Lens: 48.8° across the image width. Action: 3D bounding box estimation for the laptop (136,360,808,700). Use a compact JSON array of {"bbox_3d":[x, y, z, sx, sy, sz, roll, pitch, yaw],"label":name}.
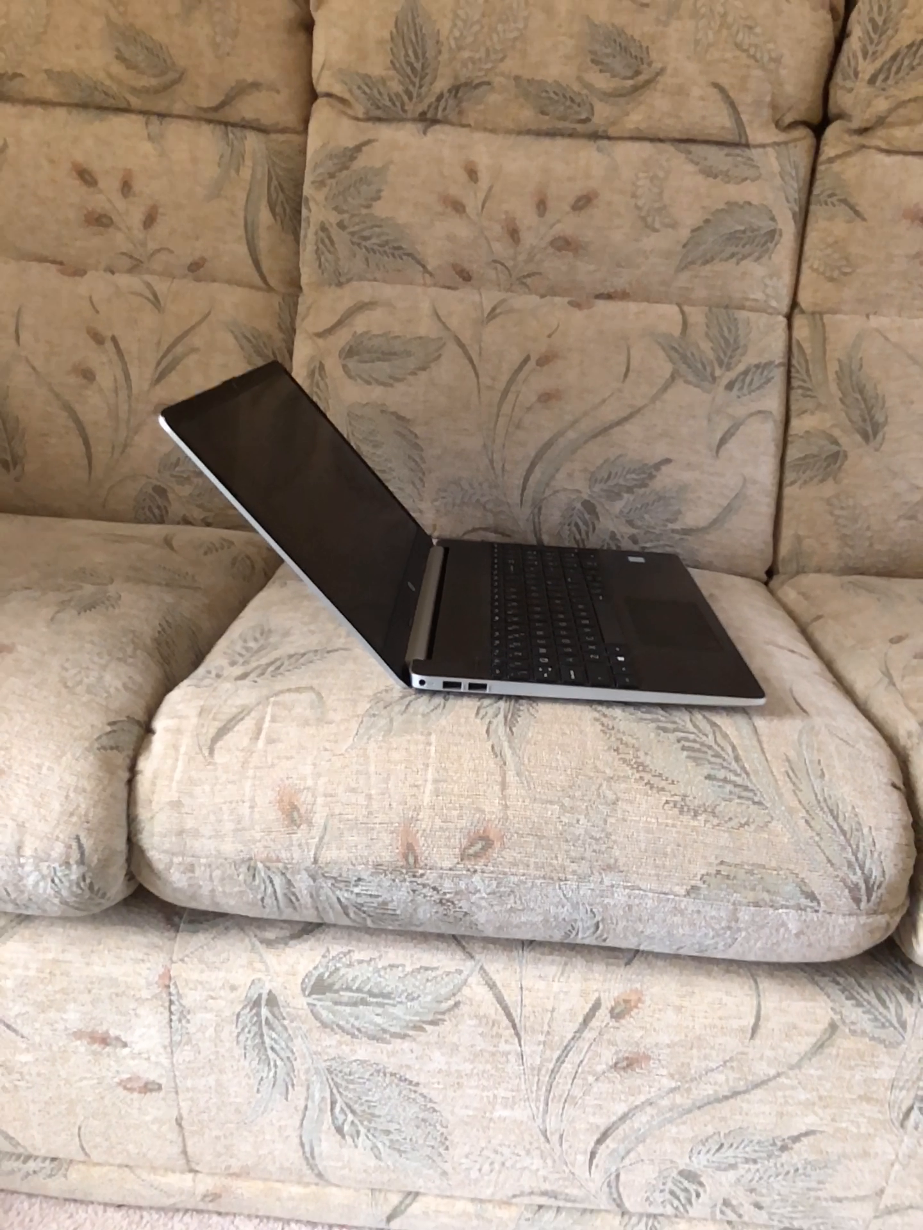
[{"bbox_3d":[0.011,-0.087,0.796,0.397,0.163,0.340,4,21,0],"label":"laptop"}]
